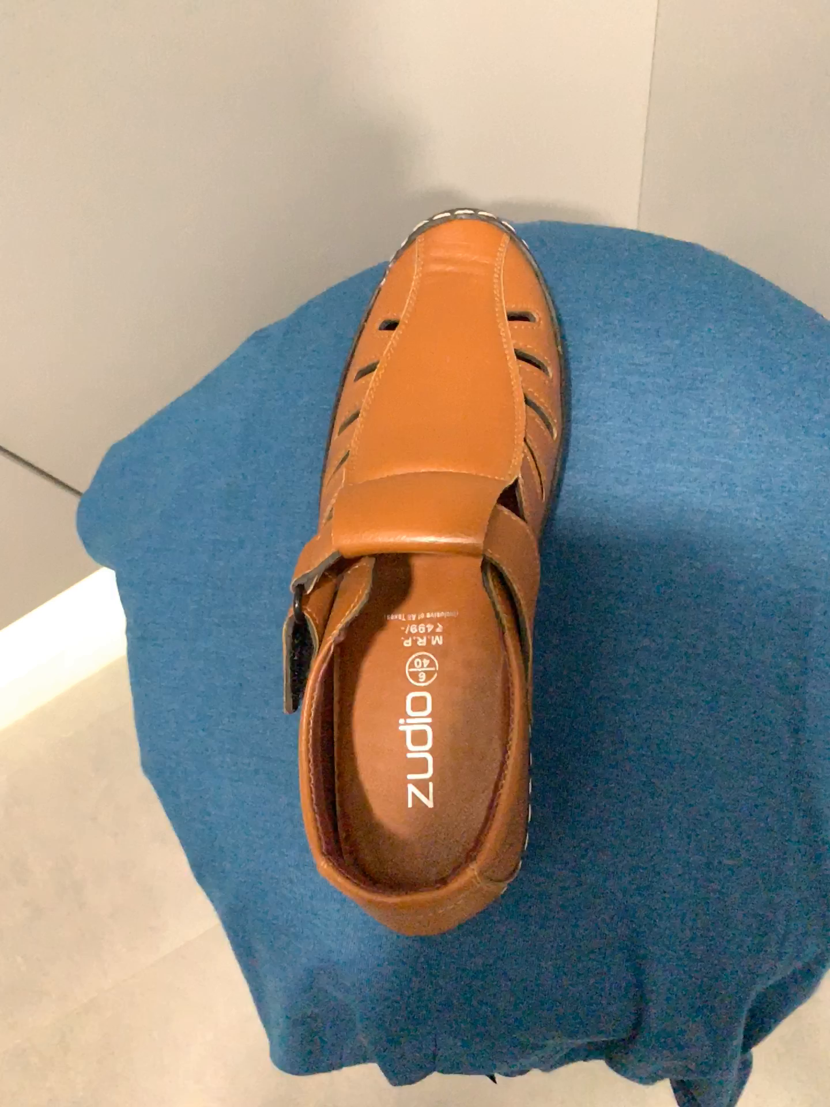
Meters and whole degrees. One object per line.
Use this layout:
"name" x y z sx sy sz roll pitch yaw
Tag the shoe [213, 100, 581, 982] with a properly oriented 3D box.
"shoe" 0.009 -0.008 0.310 0.100 0.100 0.270 0 76 11
